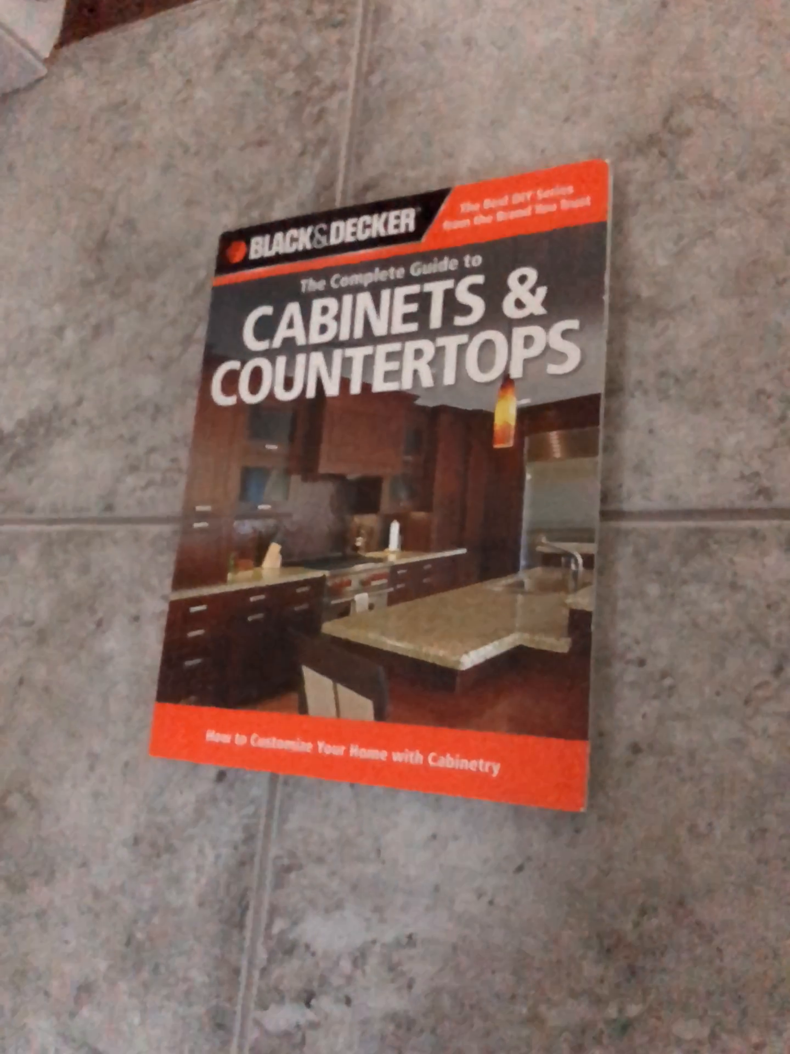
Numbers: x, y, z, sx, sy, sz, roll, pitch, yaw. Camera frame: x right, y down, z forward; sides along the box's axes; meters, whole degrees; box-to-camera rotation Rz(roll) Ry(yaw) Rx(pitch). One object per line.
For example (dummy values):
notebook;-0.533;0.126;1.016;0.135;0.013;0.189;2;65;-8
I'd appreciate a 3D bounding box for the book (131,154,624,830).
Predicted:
book;-0.011;-0.022;0.415;0.216;0.022;0.281;-1;76;27
